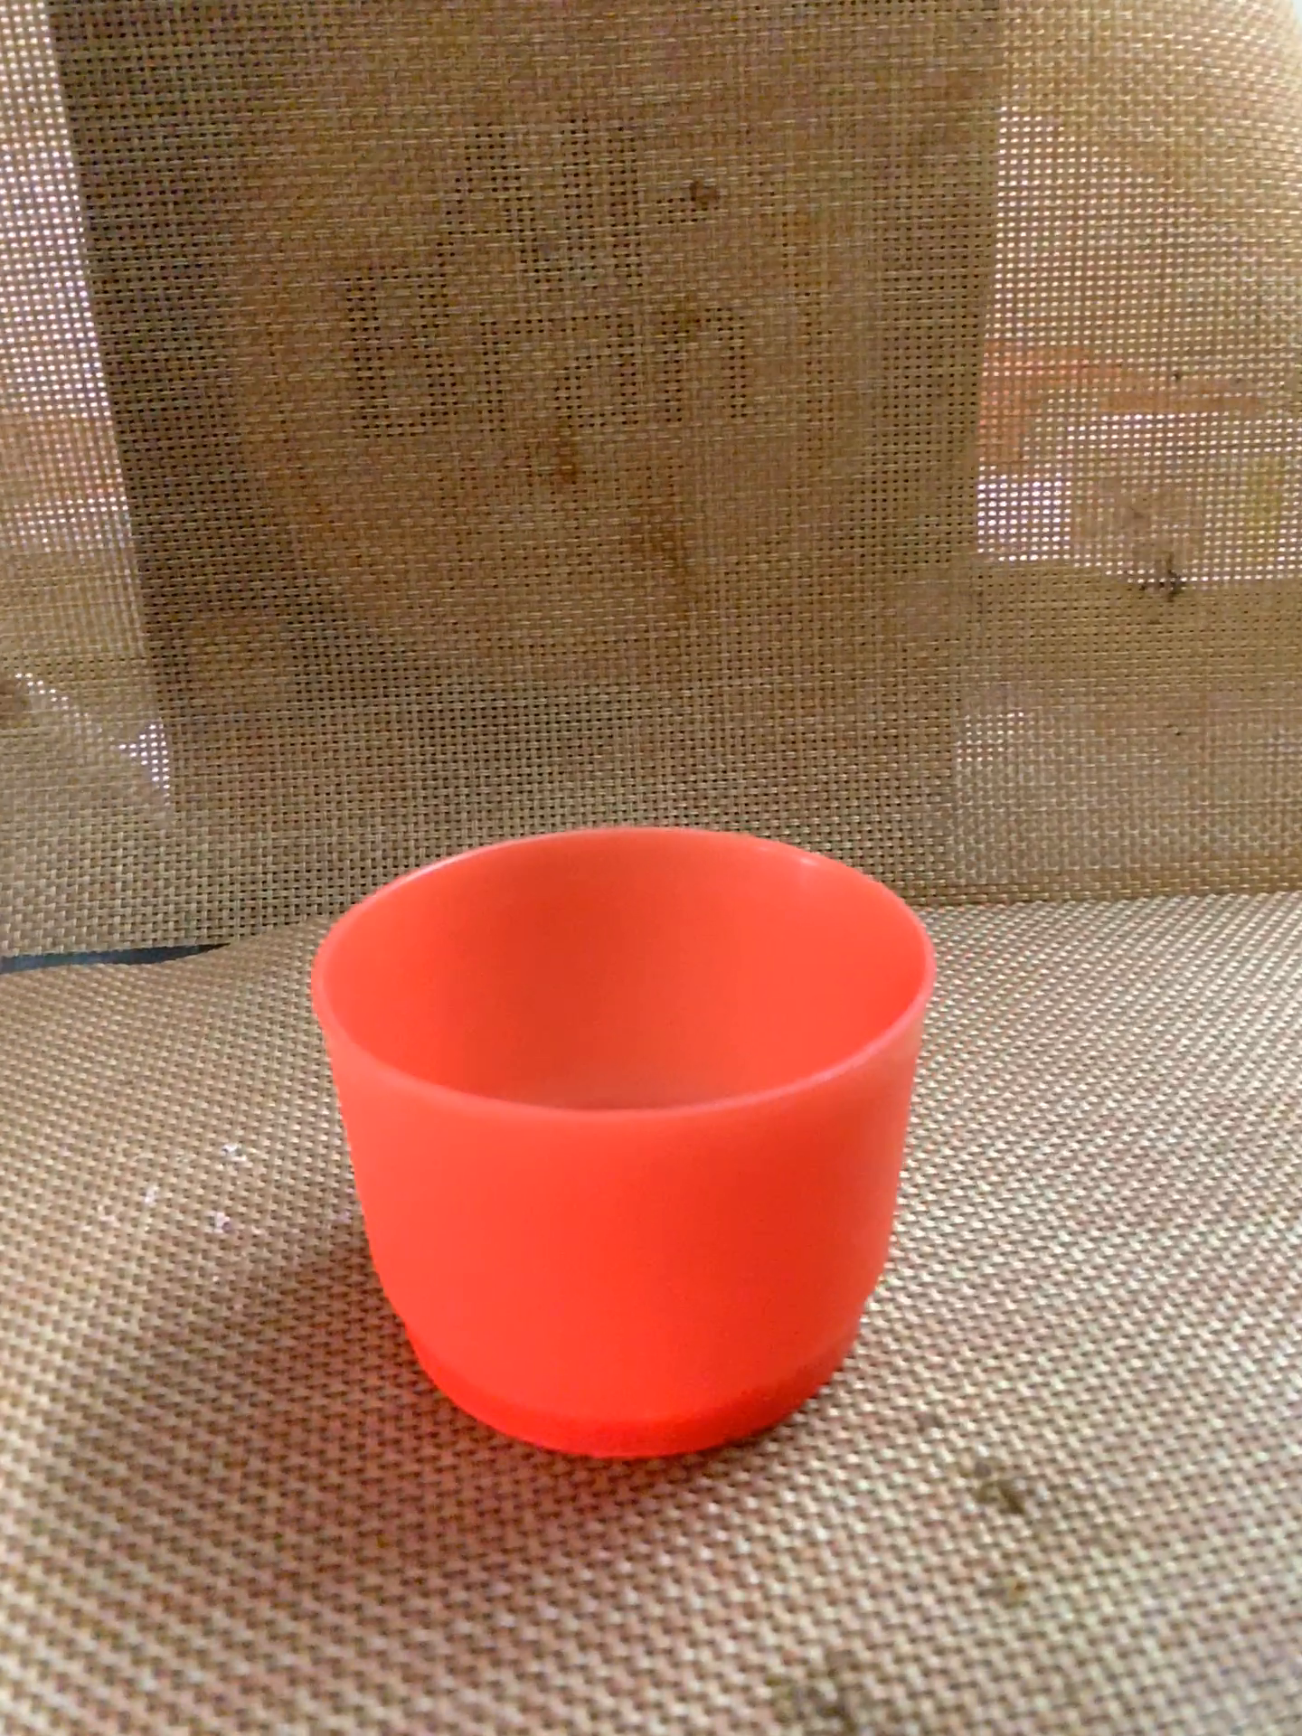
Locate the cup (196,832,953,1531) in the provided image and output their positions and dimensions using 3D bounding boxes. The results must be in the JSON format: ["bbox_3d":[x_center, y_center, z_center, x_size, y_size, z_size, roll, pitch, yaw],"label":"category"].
[{"bbox_3d":[-0.005,0.032,0.167,0.070,0.050,0.071,-1,24,0],"label":"cup"}]
